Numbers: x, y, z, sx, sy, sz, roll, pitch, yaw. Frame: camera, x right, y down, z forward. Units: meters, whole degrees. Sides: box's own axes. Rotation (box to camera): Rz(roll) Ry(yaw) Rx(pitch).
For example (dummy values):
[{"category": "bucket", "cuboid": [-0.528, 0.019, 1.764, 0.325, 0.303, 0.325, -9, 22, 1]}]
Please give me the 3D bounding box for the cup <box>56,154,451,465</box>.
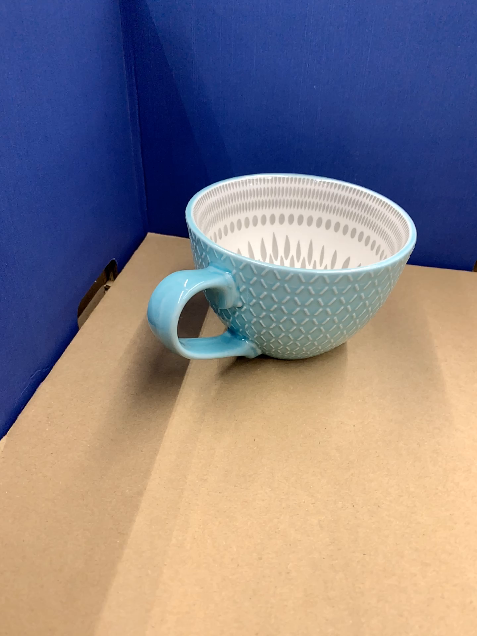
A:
[{"category": "cup", "cuboid": [0.011, -0.022, 0.250, 0.152, 0.059, 0.112, -28, 49, -36]}]
